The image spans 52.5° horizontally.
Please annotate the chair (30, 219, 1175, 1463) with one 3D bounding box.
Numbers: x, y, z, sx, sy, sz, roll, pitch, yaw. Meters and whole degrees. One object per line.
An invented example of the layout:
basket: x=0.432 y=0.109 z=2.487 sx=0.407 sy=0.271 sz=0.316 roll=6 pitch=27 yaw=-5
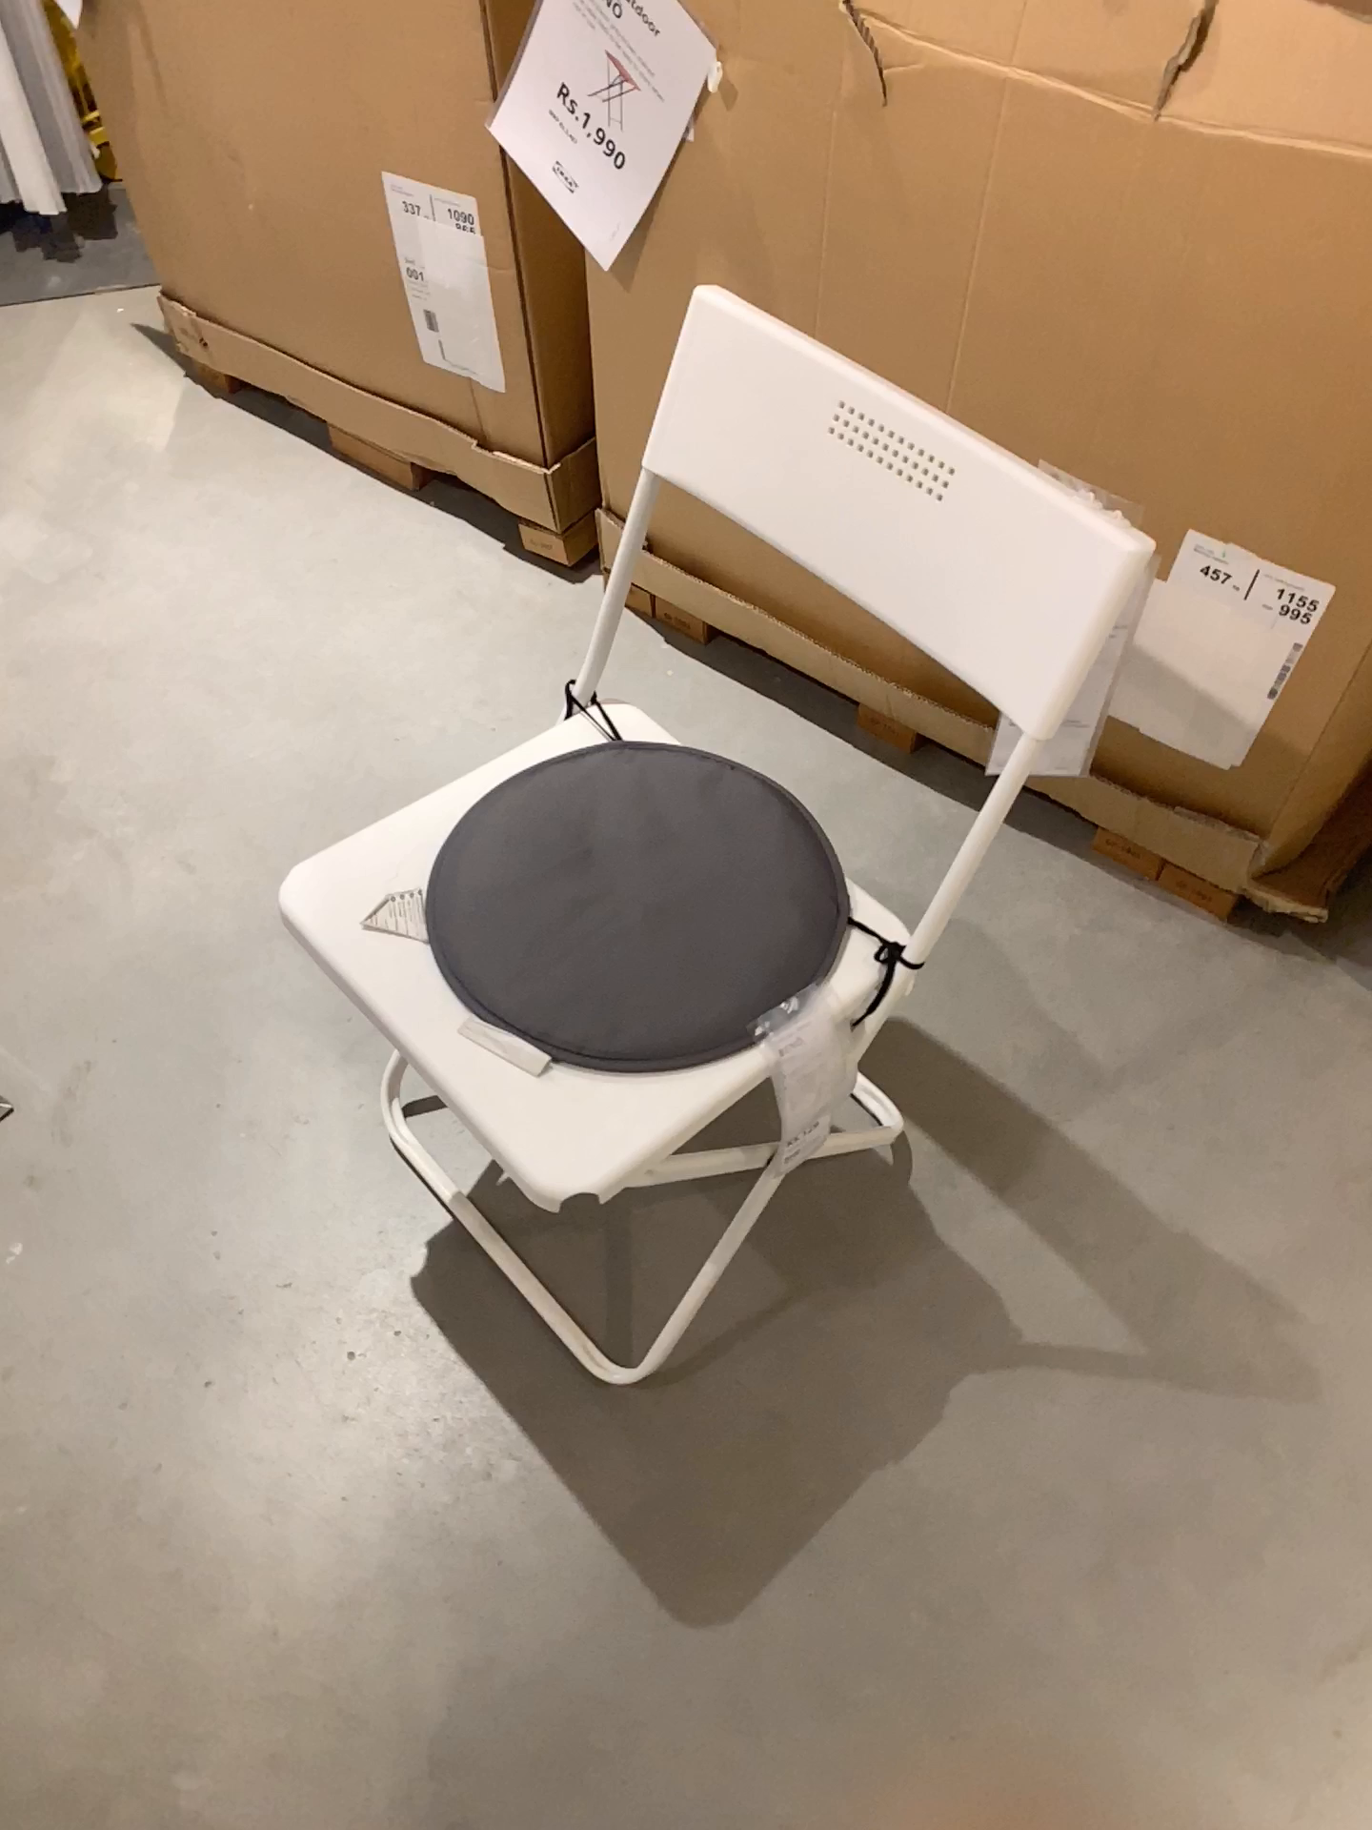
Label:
chair: x=-0.060 y=-0.024 z=1.121 sx=0.480 sy=0.738 sz=0.491 roll=-34 pitch=60 yaw=-24
